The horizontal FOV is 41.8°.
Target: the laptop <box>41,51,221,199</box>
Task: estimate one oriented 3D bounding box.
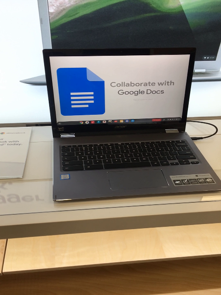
[{"bbox_3d":[0.041,-0.060,0.590,0.326,0.203,0.263,-3,39,-7],"label":"laptop"}]
